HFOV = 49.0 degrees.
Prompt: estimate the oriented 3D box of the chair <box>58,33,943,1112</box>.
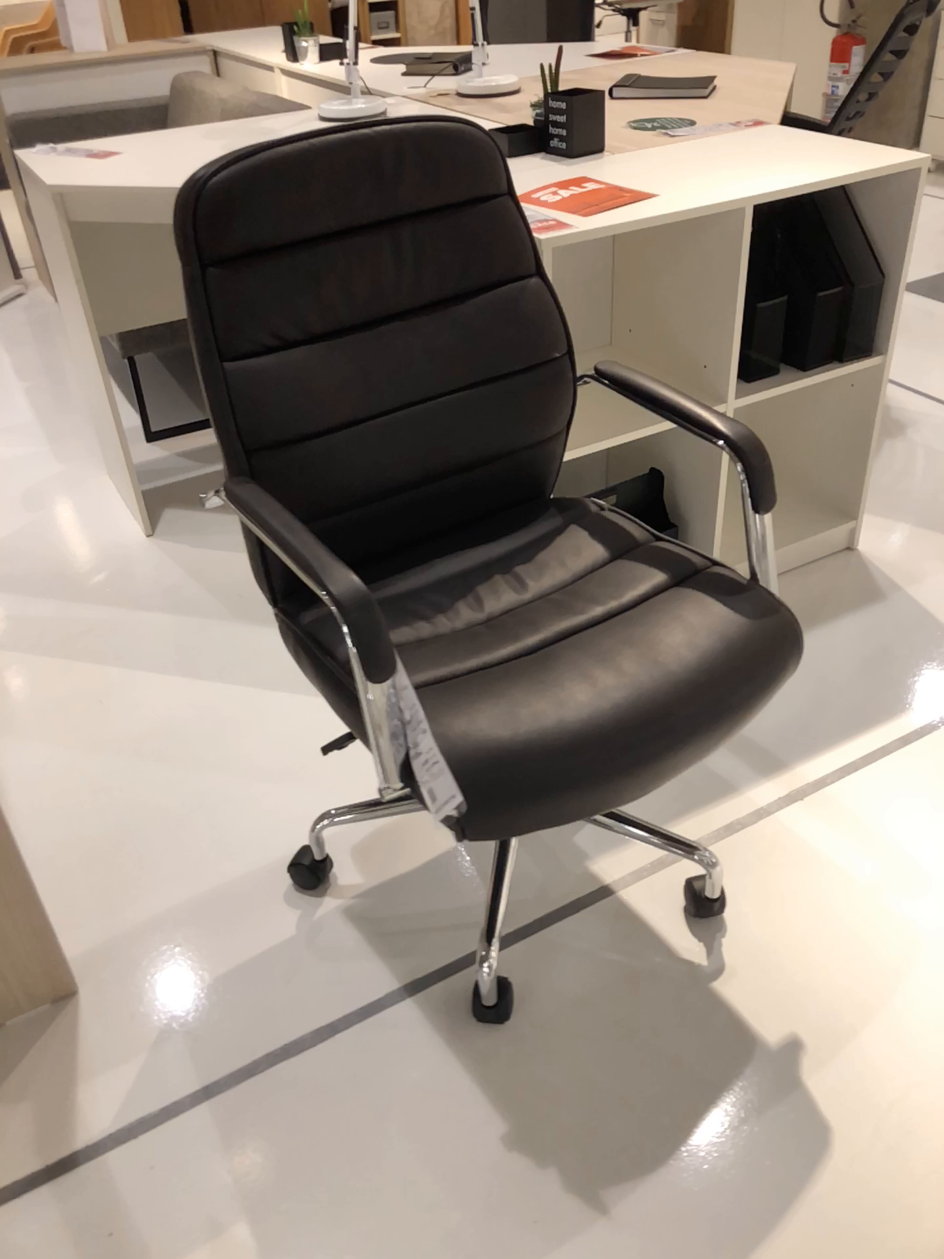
[{"bbox_3d":[0.046,-0.100,1.231,0.652,0.972,0.573,-23,39,-25],"label":"chair"}]
